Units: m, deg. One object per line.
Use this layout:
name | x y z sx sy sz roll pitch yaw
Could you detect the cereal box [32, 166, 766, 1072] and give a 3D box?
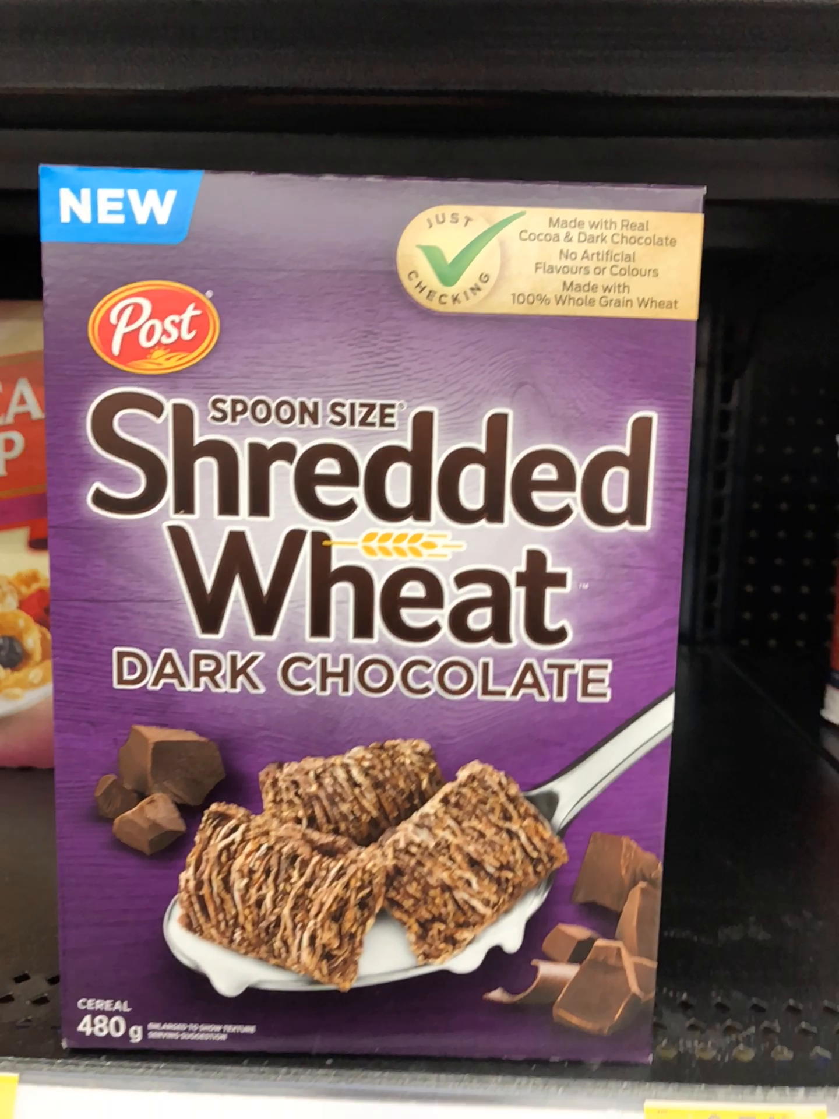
cereal box | -0.008 0.023 0.305 0.200 0.269 0.060 1 9 0
